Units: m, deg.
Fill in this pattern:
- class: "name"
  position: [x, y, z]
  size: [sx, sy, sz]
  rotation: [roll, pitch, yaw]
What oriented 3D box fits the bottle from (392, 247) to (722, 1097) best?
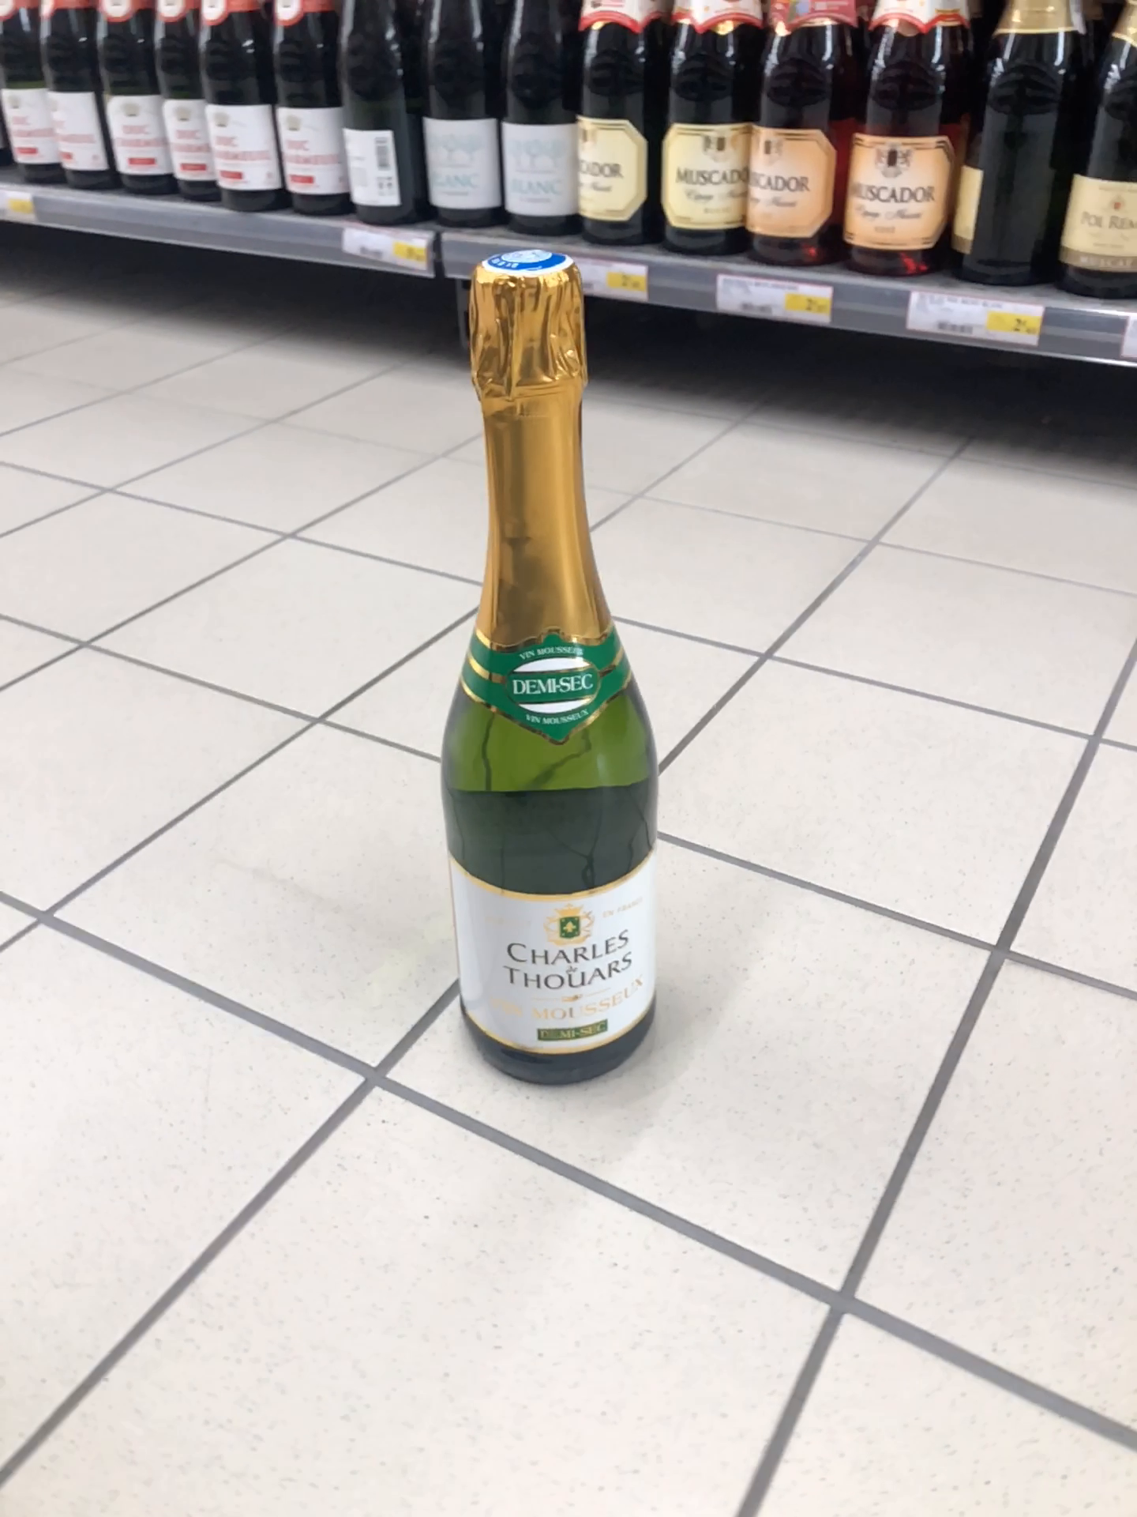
- class: "bottle"
  position: [-0.002, -0.018, 0.457]
  size: [0.090, 0.298, 0.090]
  rotation: [-1, 32, 1]
